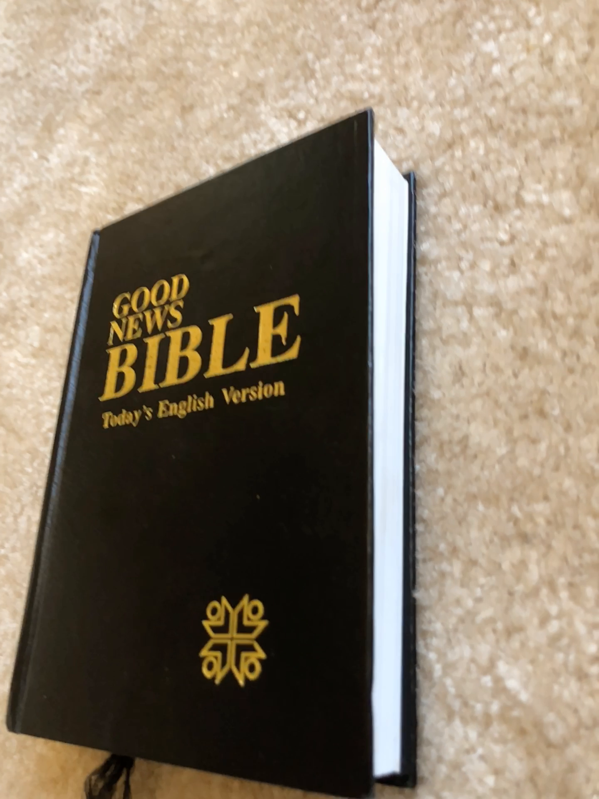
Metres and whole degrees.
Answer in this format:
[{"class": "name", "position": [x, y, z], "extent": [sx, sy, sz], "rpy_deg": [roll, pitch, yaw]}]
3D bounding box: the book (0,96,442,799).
[{"class": "book", "position": [-0.026, 0.013, 0.192], "extent": [0.124, 0.040, 0.160], "rpy_deg": [-11, 65, 35]}]
